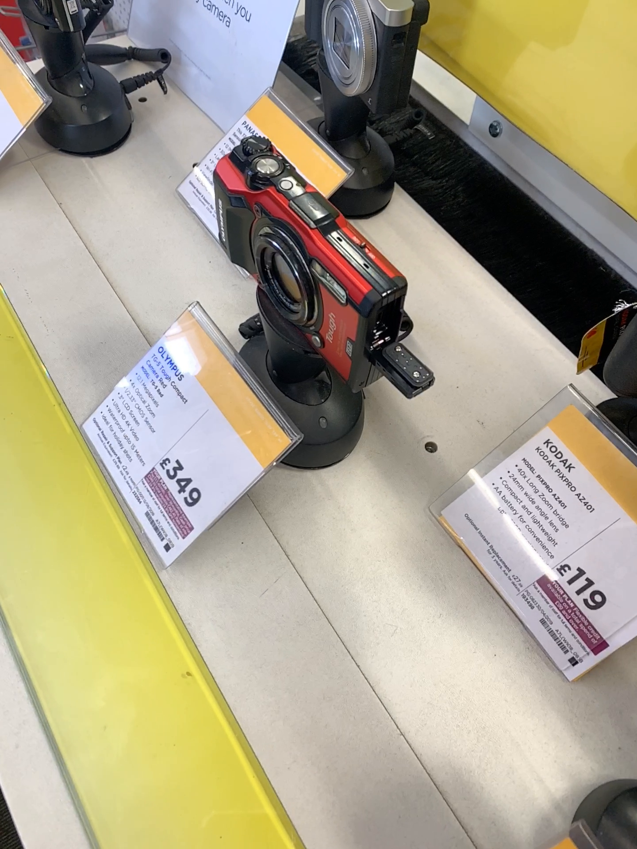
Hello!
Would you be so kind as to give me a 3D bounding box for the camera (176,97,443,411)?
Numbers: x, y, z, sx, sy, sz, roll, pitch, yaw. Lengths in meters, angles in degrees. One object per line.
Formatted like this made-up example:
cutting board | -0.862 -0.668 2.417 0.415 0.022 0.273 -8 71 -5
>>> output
camera | -0.008 -0.073 0.275 0.040 0.060 0.120 -30 65 -19
